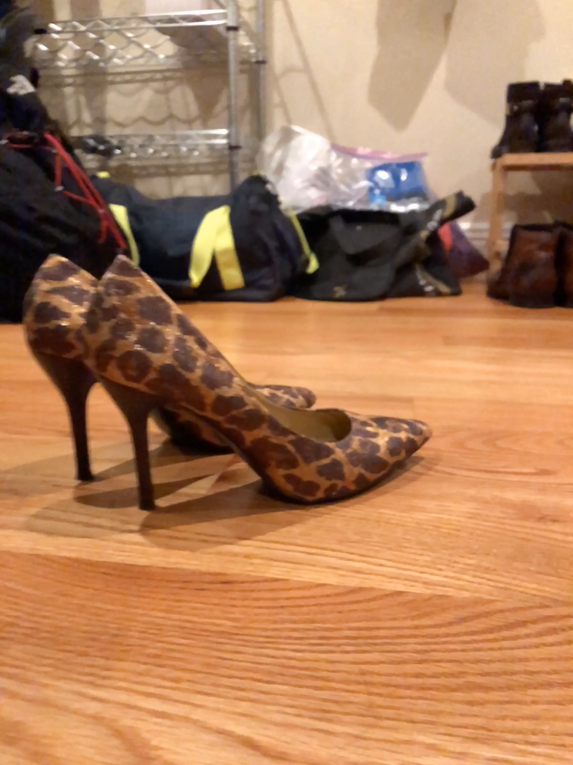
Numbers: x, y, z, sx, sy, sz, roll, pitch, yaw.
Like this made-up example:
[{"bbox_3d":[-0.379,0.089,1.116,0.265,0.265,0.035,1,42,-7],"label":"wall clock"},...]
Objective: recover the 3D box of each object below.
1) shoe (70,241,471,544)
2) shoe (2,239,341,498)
[{"bbox_3d":[-0.006,-0.010,0.386,0.219,0.144,0.084,-7,15,-25],"label":"shoe"},{"bbox_3d":[-0.070,-0.027,0.456,0.219,0.144,0.084,-11,17,-38],"label":"shoe"}]
